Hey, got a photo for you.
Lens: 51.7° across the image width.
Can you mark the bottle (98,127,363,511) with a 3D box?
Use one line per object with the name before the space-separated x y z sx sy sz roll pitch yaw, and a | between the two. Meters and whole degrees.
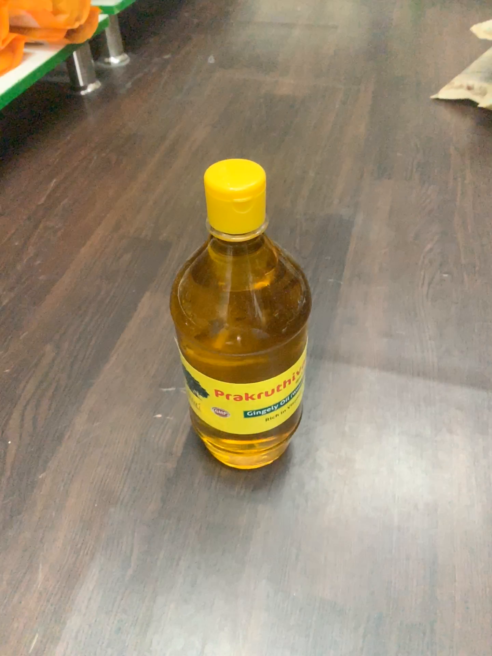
bottle | -0.003 0.008 0.322 0.090 0.219 0.090 -1 47 1
